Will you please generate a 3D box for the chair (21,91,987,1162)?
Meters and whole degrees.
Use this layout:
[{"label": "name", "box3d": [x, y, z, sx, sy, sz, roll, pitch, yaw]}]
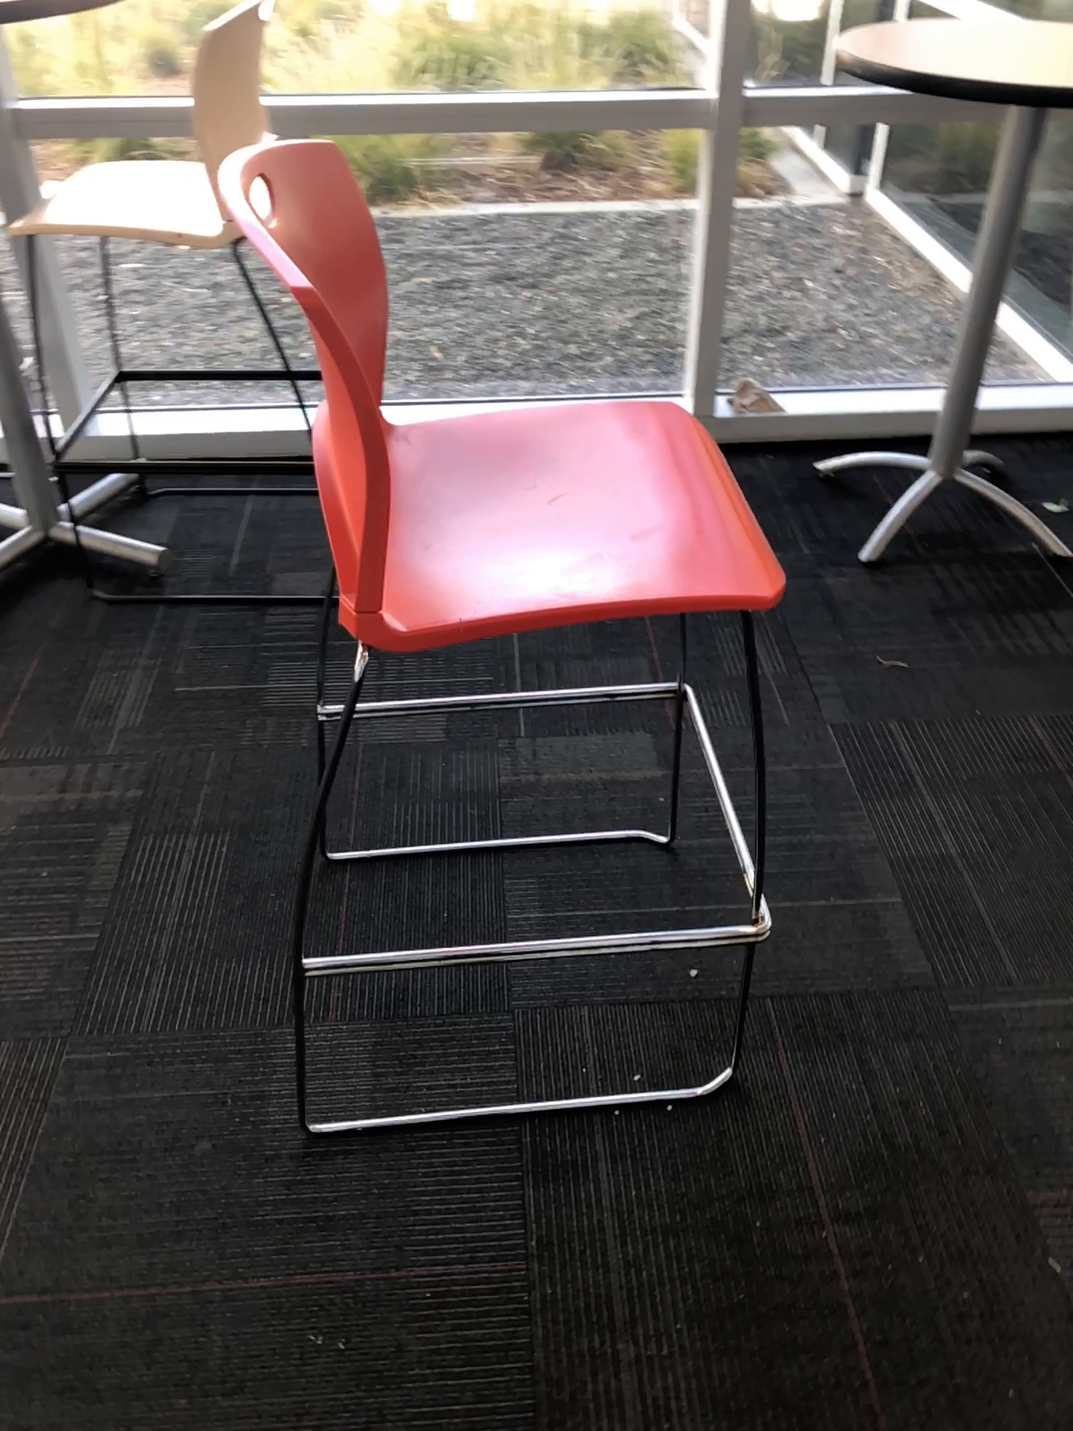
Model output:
[{"label": "chair", "box3d": [-0.043, -0.087, 1.337, 0.660, 0.995, 0.593, -5, 37, -6]}]
